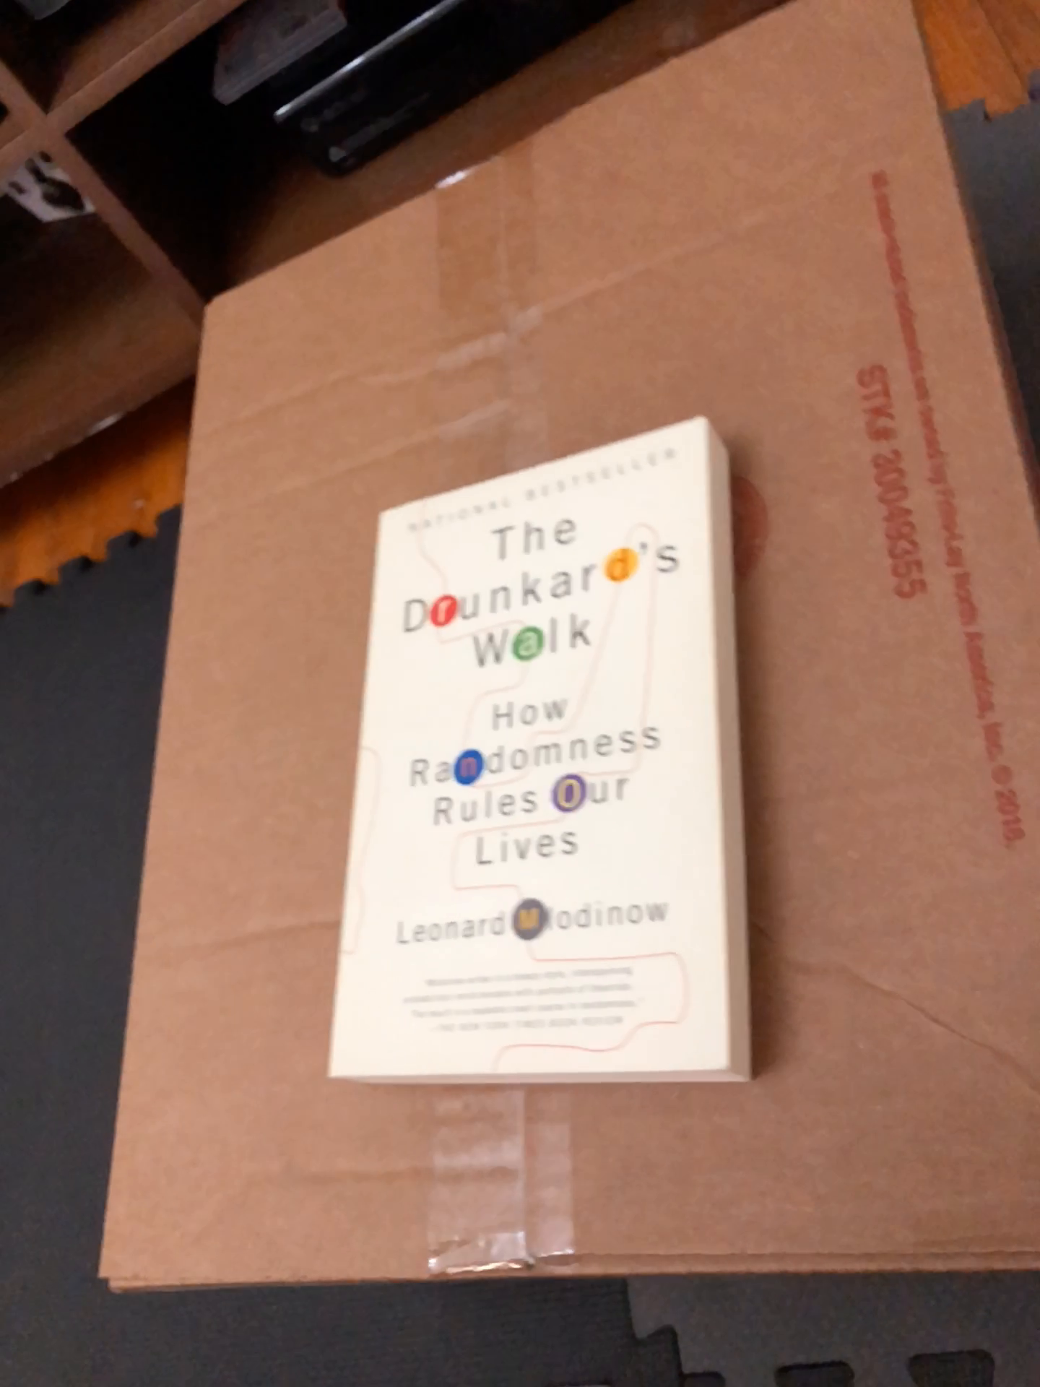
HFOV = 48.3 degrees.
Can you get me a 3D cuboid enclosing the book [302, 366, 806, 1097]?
[{"bbox_3d":[0.009,0.015,0.367,0.140,0.040,0.211,-12,63,29],"label":"book"}]
